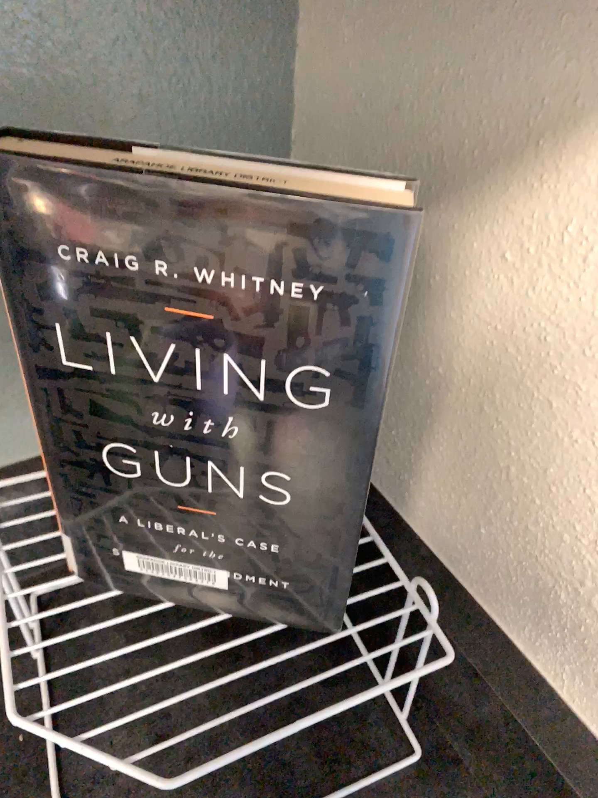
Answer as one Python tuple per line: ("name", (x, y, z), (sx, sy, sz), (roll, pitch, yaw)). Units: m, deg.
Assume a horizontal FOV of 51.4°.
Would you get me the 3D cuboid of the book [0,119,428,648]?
("book", (-0.046, 0.007, 0.284), (0.171, 0.229, 0.040), (9, 33, 8))
